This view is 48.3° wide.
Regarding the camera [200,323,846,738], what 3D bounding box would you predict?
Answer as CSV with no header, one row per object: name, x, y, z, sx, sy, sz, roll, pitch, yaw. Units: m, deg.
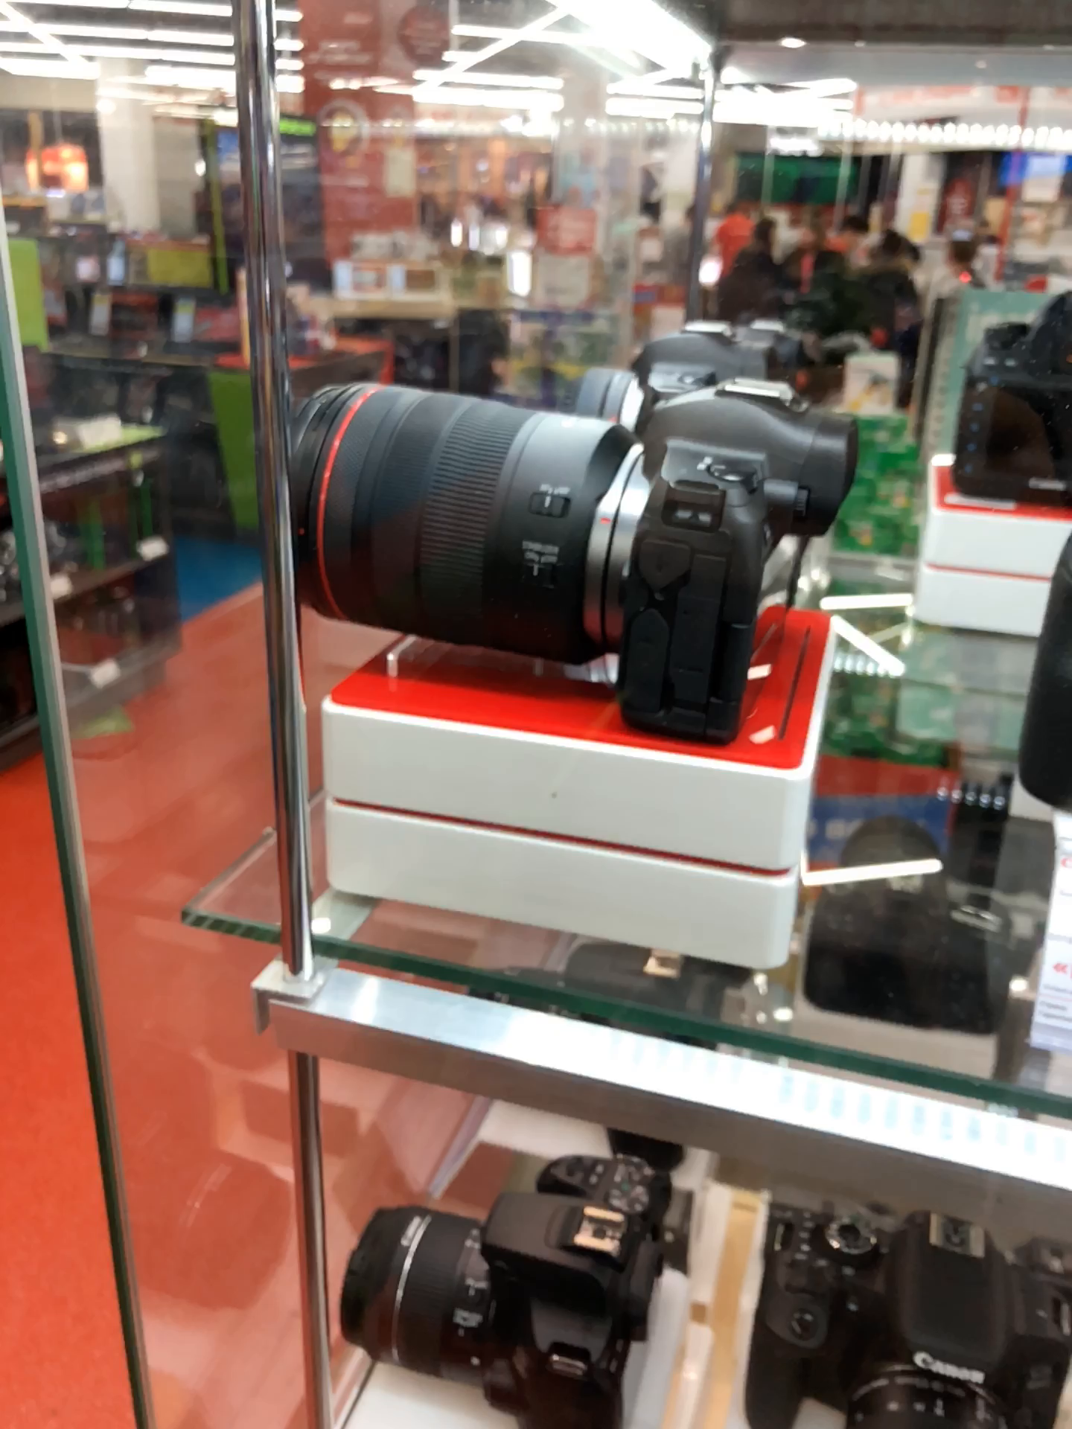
camera,0.005,-0.076,0.416,0.180,0.093,0.145,9,24,15
